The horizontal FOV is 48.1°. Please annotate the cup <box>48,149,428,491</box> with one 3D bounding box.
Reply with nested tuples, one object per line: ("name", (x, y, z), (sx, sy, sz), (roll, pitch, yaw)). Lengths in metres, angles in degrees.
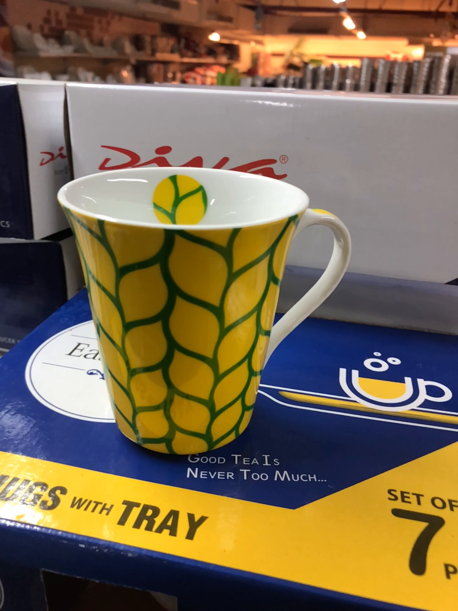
("cup", (-0.002, -0.007, 0.200), (0.110, 0.089, 0.080), (-11, 28, -25))
